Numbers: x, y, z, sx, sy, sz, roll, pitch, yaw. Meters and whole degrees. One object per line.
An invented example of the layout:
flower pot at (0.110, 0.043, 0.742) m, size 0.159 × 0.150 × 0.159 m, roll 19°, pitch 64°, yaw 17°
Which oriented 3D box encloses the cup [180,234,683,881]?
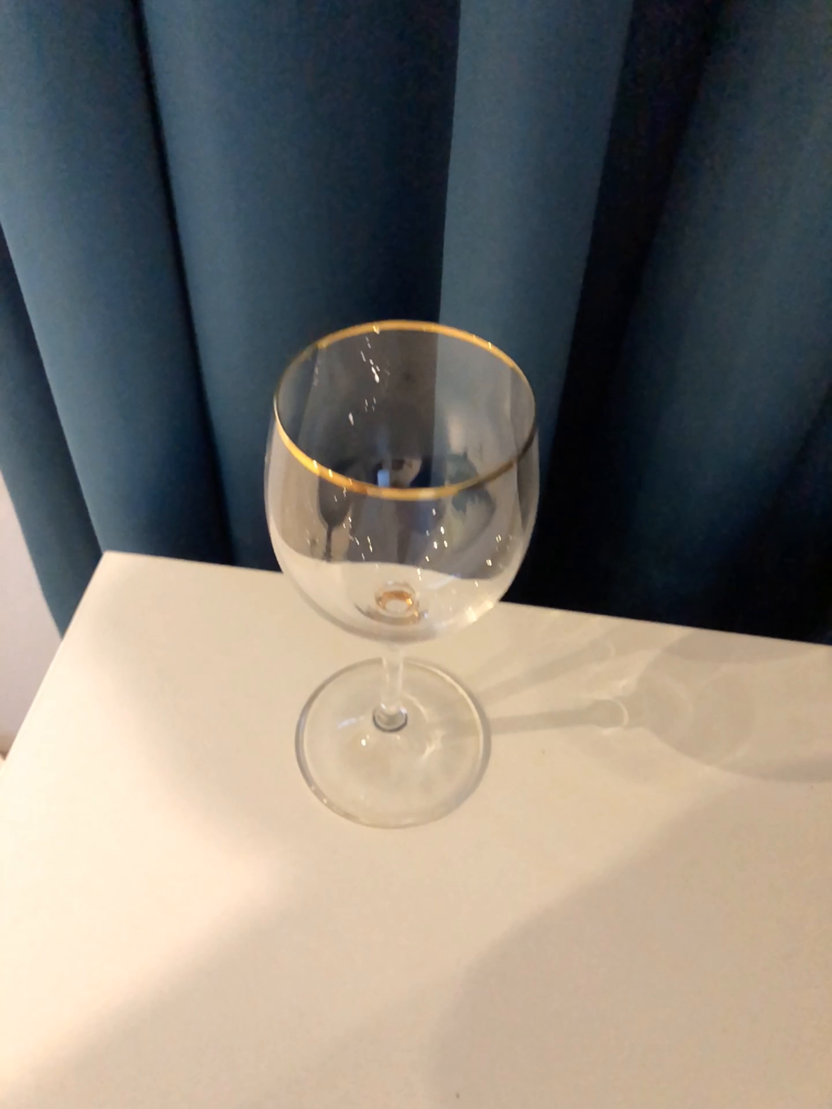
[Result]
cup at (0.002, 0.006, 0.322) m, size 0.100 × 0.179 × 0.100 m, roll 2°, pitch 46°, yaw -2°
